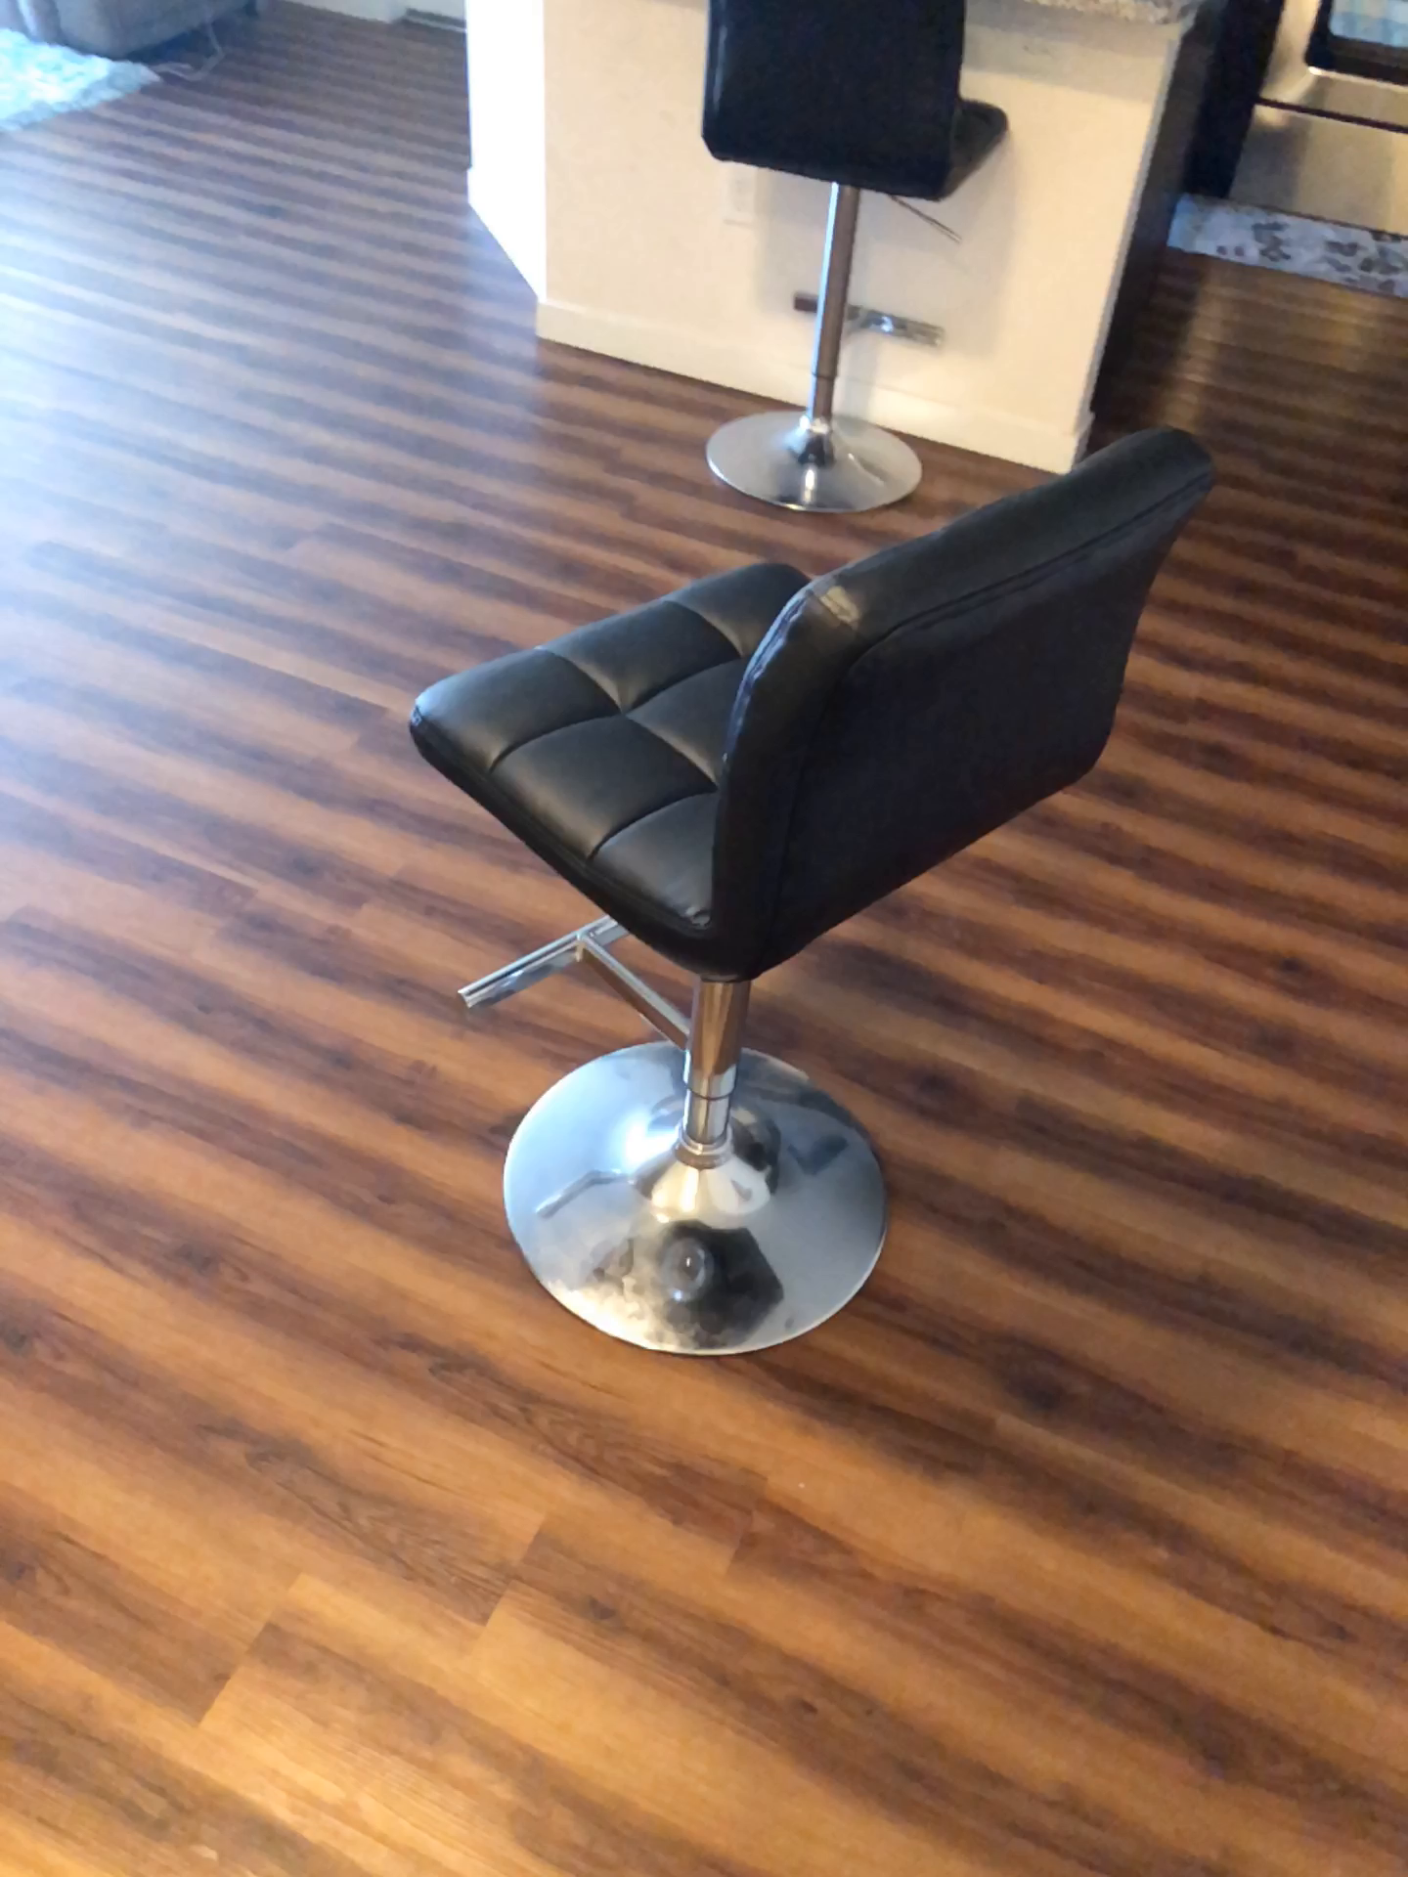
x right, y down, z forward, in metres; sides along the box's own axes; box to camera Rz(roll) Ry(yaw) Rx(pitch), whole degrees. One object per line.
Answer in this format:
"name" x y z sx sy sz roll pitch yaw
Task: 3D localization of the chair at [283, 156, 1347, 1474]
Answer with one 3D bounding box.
"chair" 0.041 -0.103 1.441 0.536 0.952 0.569 -28 52 -32
